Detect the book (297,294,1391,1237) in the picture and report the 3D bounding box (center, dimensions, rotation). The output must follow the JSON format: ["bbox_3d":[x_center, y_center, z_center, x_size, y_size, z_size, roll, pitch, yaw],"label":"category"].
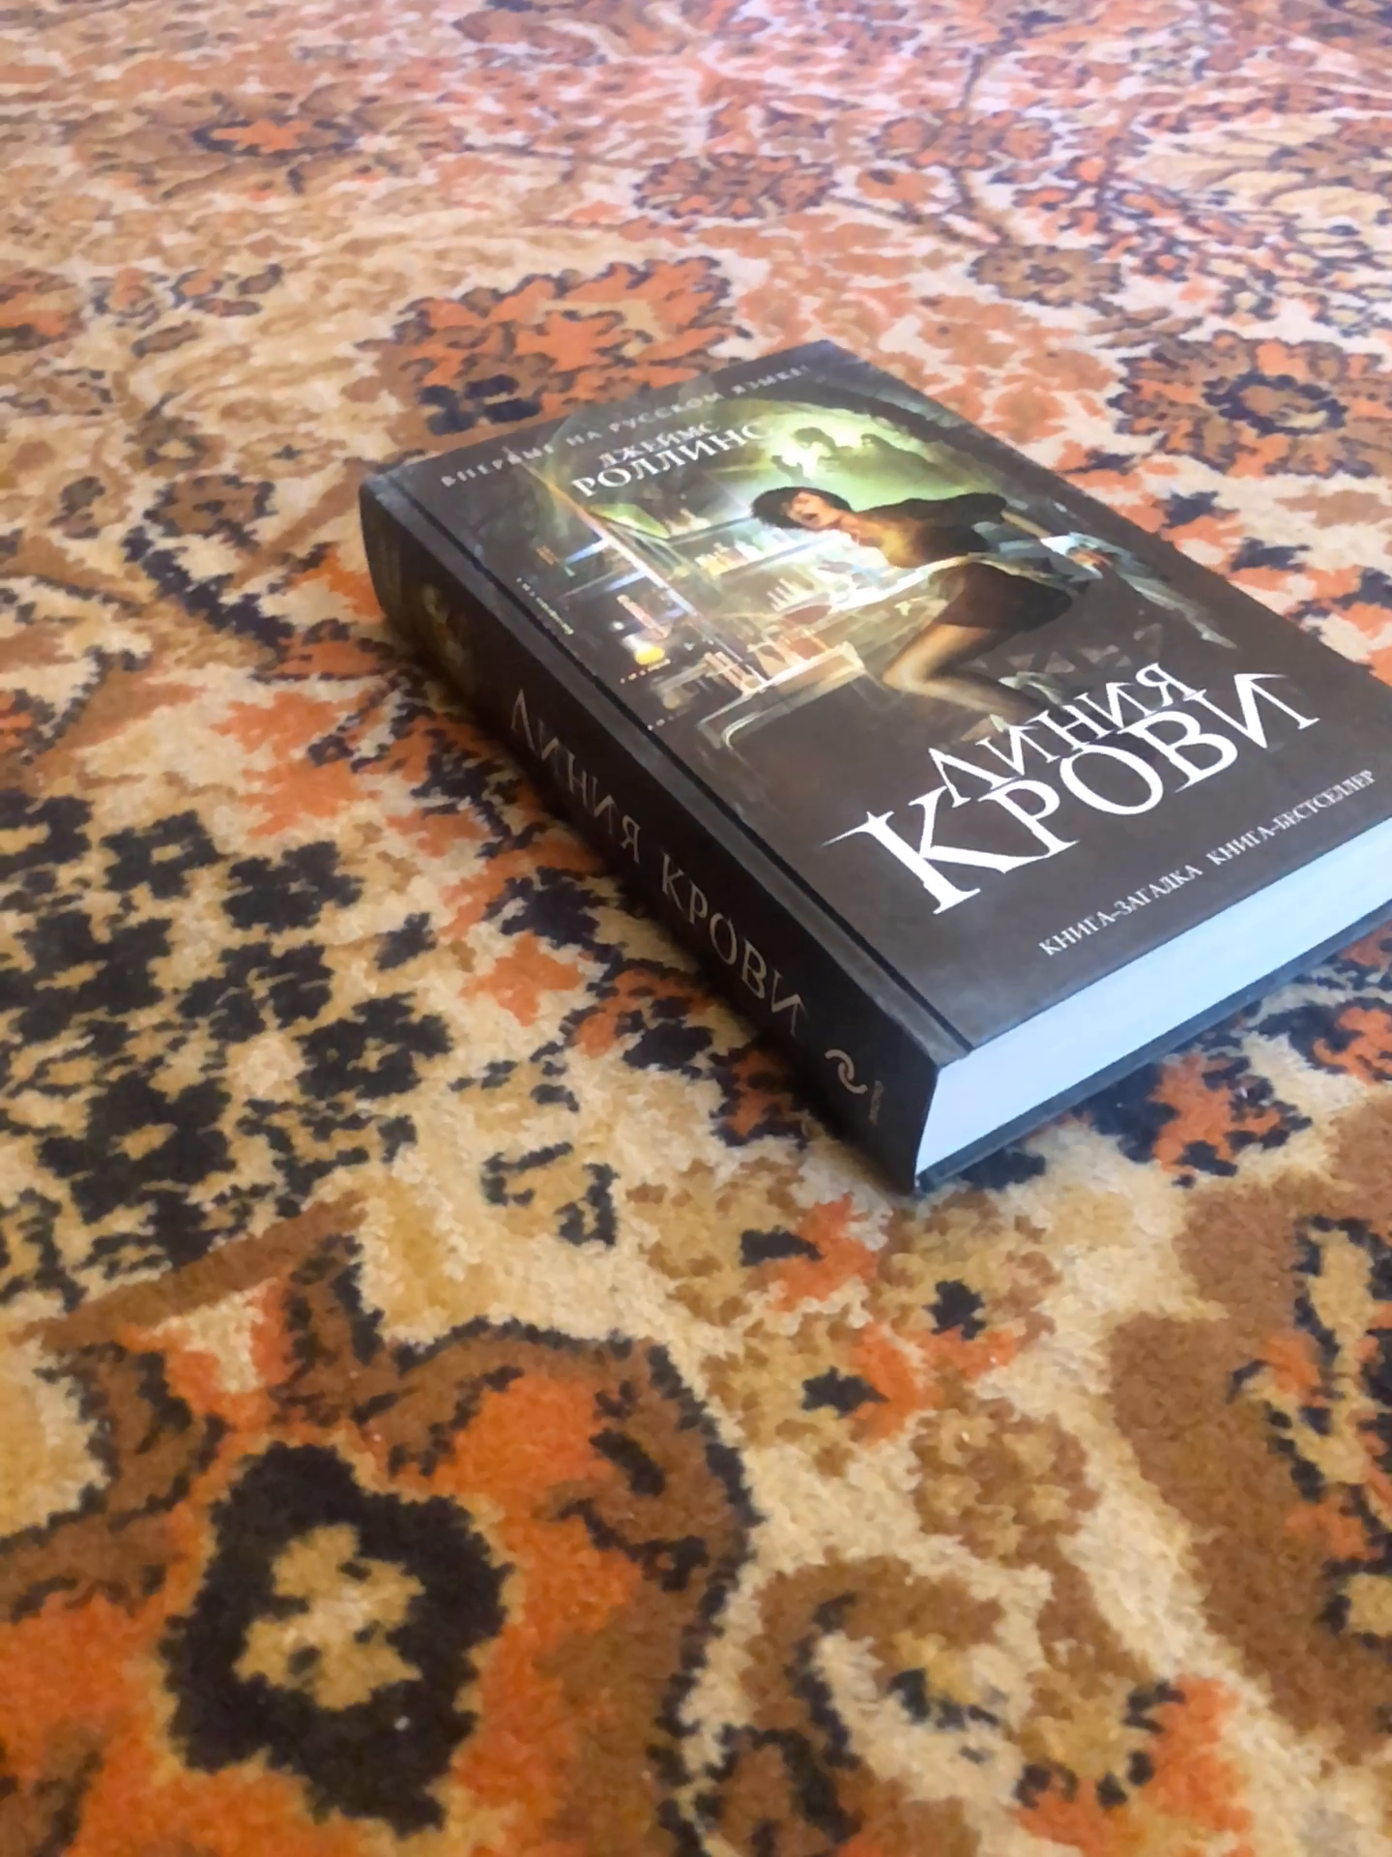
[{"bbox_3d":[0.036,-0.061,0.341,0.159,0.040,0.227,-25,51,-24],"label":"book"}]
